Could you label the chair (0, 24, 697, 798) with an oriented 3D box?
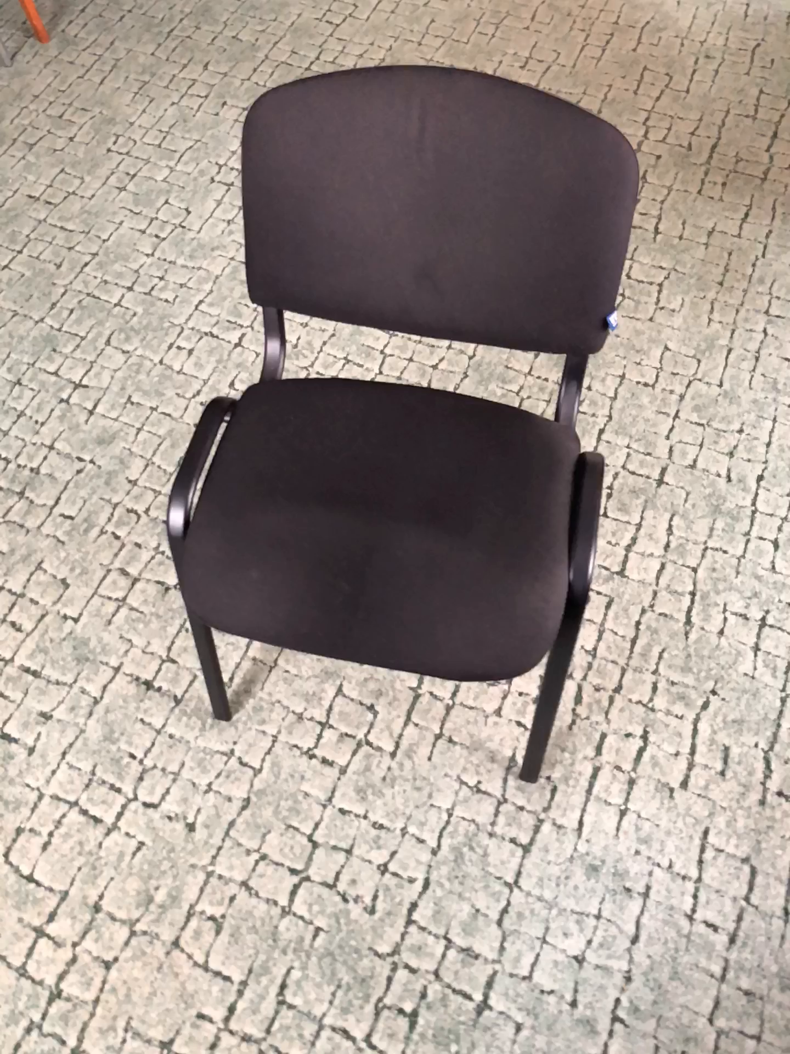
[{"bbox_3d":[-0.006,-0.091,1.167,0.580,0.785,0.603,10,60,8],"label":"chair"}]
